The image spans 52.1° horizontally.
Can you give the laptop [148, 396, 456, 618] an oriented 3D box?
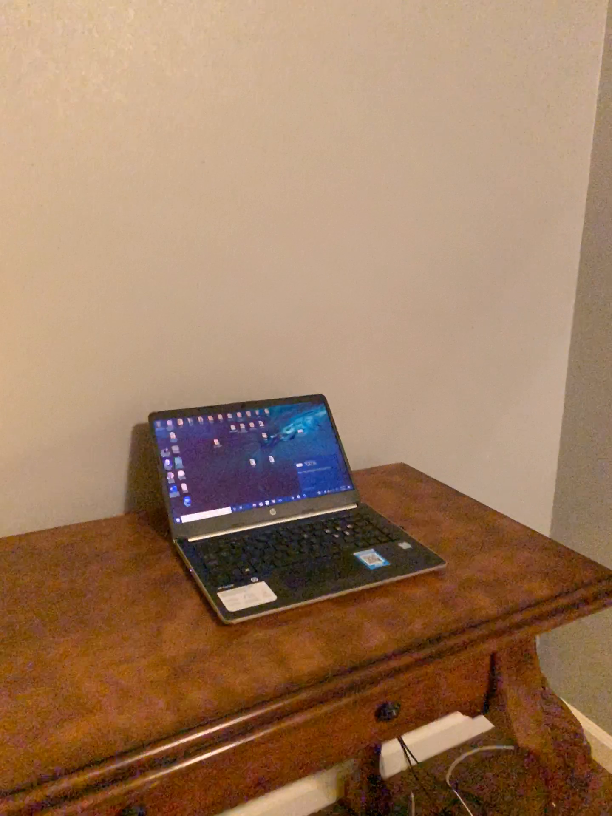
[{"bbox_3d":[-0.029,0.111,0.931,0.317,0.152,0.369,-6,16,-26],"label":"laptop"}]
